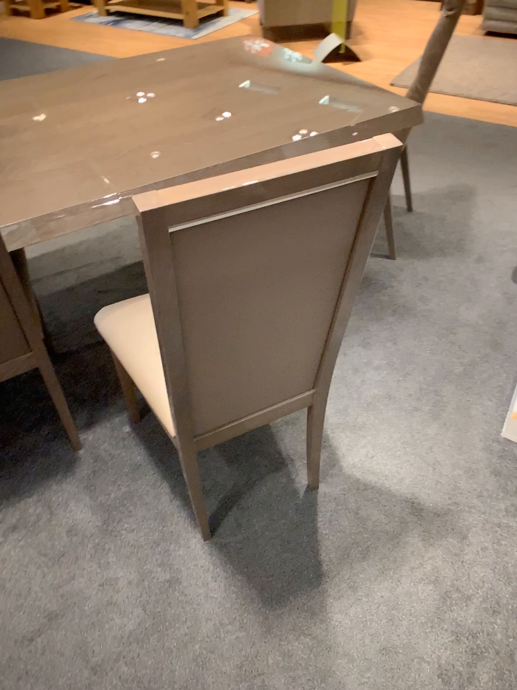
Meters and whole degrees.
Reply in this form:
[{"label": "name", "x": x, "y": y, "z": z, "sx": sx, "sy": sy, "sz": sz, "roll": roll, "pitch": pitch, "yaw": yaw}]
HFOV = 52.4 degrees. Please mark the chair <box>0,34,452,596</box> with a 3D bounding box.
[{"label": "chair", "x": -0.092, "y": -0.048, "z": 1.157, "sx": 0.539, "sy": 0.946, "sz": 0.590, "roll": -23, "pitch": 46, "yaw": -21}]
